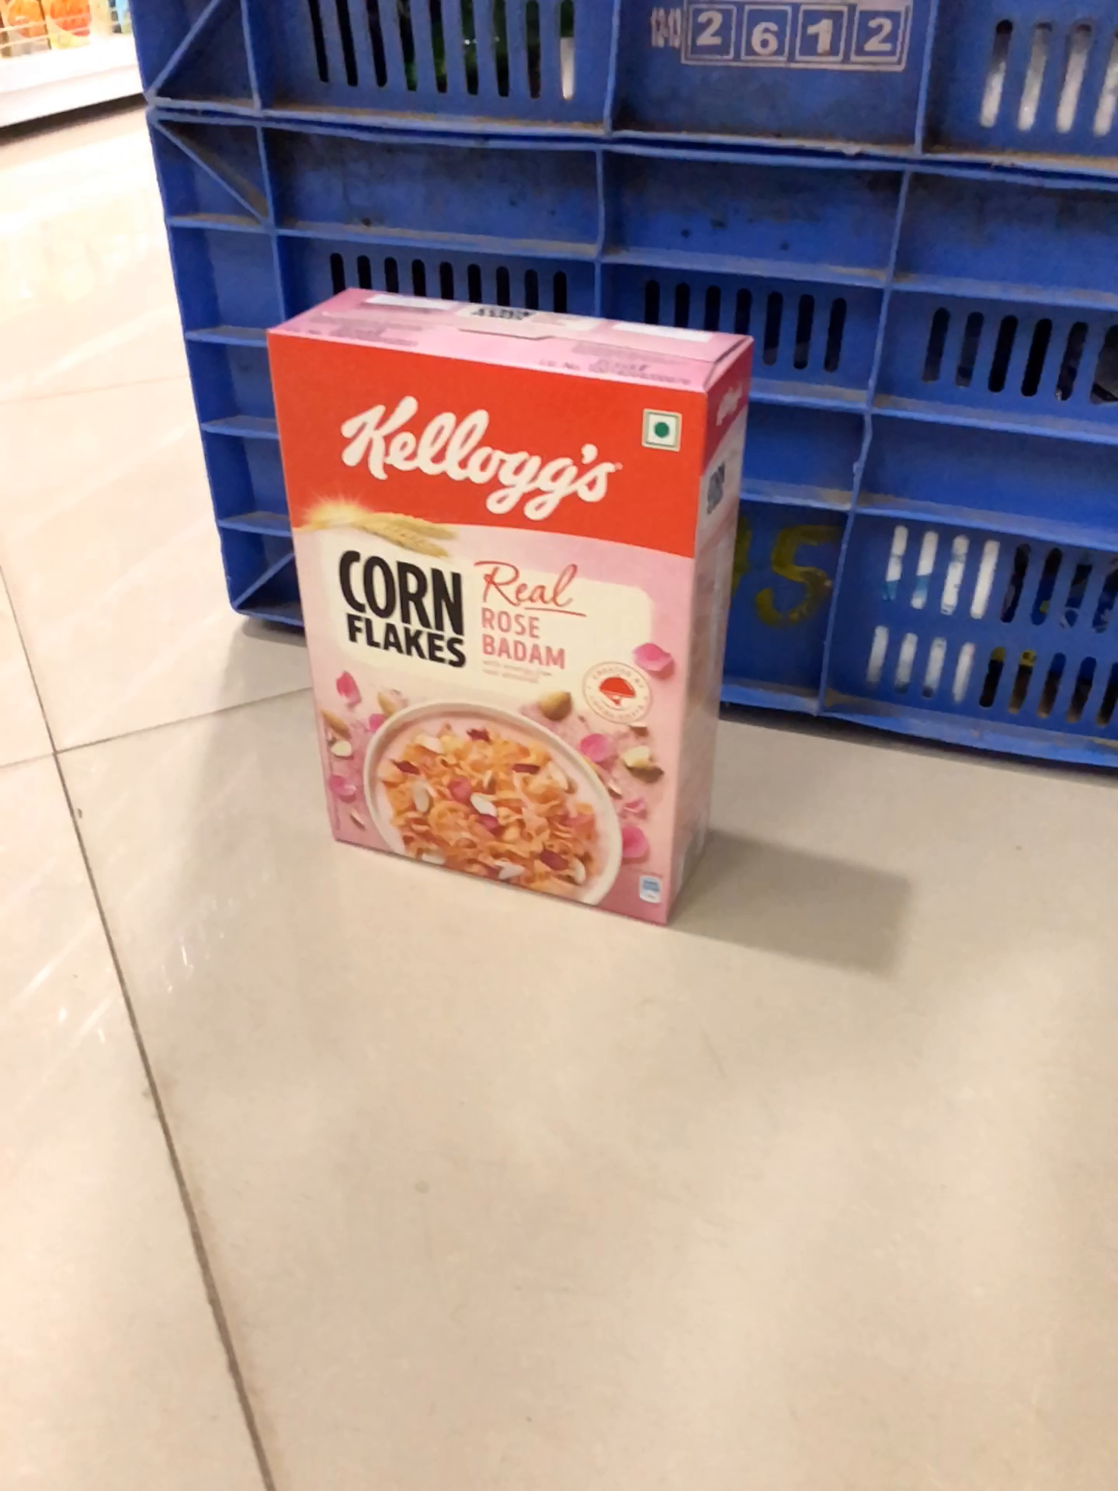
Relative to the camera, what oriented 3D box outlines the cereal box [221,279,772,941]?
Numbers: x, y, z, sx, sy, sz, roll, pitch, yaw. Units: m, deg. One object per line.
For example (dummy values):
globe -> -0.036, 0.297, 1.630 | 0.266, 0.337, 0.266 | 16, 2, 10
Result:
cereal box -> -0.025, -0.055, 0.547 | 0.200, 0.258, 0.070 | 12, 37, 16
